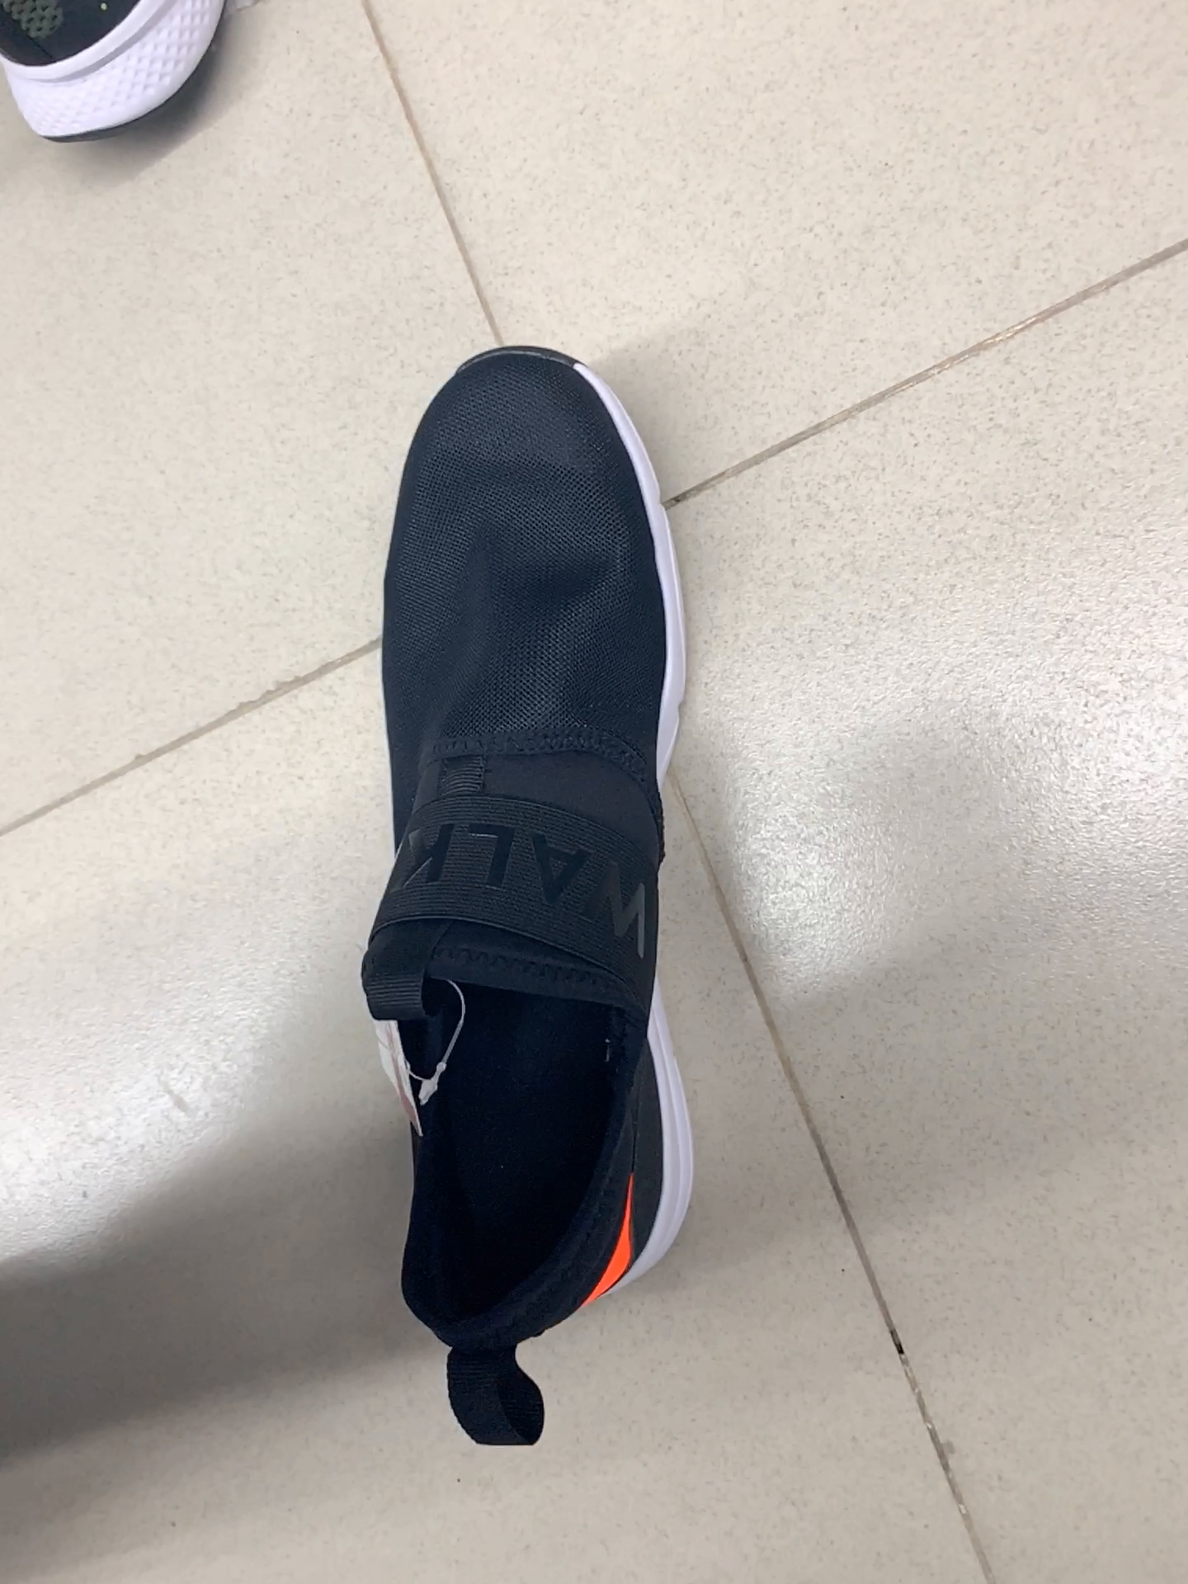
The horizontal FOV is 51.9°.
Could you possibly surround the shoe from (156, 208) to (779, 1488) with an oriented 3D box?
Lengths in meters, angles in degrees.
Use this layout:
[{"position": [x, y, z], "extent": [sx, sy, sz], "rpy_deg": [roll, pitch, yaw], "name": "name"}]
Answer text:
[{"position": [-0.026, 0.015, 0.341], "extent": [0.110, 0.120, 0.280], "rpy_deg": [-5, 89, 19], "name": "shoe"}]
